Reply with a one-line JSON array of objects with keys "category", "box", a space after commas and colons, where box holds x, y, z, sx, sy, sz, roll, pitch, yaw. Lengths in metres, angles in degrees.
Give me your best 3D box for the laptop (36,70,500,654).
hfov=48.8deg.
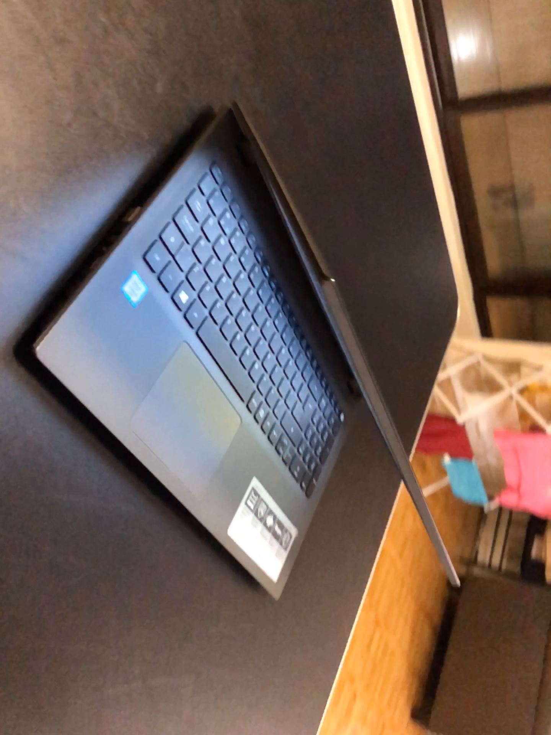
[{"category": "laptop", "box": [0.050, 0.021, 0.488, 0.252, 0.155, 0.370, -63, 142, -30]}]
